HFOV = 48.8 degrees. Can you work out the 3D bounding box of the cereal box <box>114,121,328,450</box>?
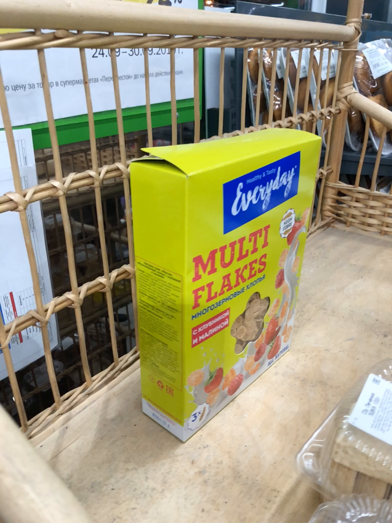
[{"bbox_3d":[0.026,0.011,0.376,0.060,0.229,0.181,23,34,36],"label":"cereal box"}]
